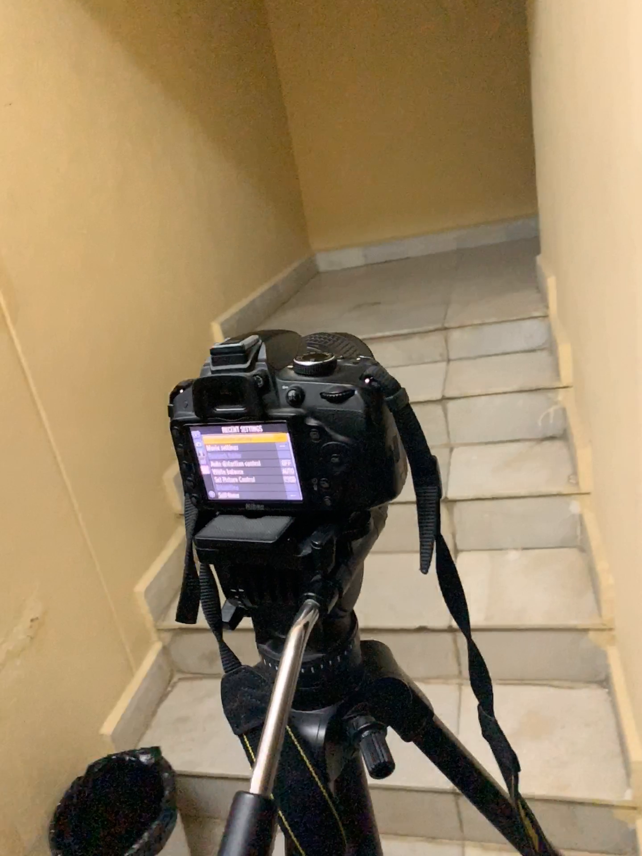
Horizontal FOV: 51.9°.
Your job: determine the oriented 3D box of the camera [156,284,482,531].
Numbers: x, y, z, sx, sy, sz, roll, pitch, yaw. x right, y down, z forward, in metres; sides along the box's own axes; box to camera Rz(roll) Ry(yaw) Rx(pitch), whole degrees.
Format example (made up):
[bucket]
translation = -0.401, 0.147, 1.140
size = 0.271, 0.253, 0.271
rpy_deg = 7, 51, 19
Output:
[camera]
translation = 0.009, -0.018, 0.382
size = 0.134, 0.090, 0.130
rpy_deg = -1, 23, 26
